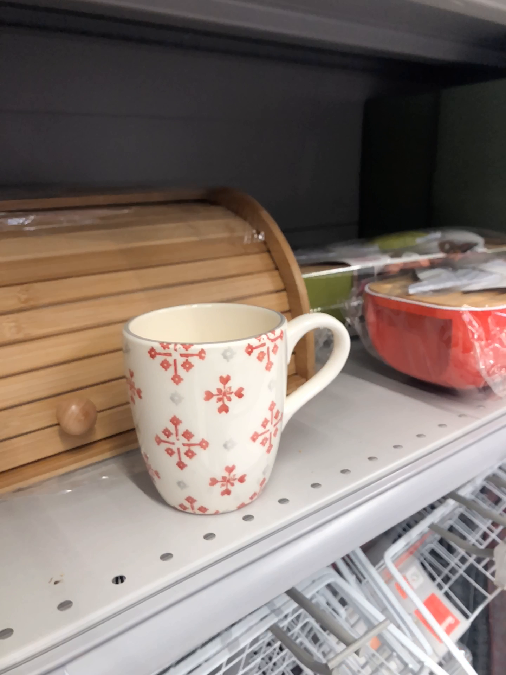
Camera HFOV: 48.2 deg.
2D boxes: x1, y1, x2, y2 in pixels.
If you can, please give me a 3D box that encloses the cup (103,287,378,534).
[{"bbox_3d":[-0.010,0.030,0.319,0.125,0.090,0.090,-8,18,-22],"label":"cup"}]
